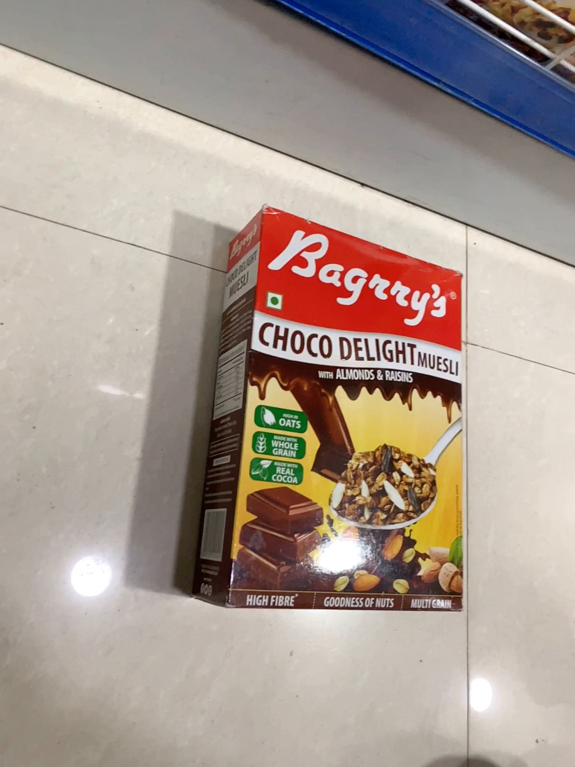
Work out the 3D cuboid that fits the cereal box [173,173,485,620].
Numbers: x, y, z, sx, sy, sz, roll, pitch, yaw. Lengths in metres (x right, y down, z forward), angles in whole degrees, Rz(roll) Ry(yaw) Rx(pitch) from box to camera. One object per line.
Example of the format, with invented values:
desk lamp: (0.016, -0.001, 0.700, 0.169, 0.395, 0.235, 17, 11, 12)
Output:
cereal box: (0.041, 0.020, 0.437, 0.200, 0.080, 0.280, 12, 73, -26)
